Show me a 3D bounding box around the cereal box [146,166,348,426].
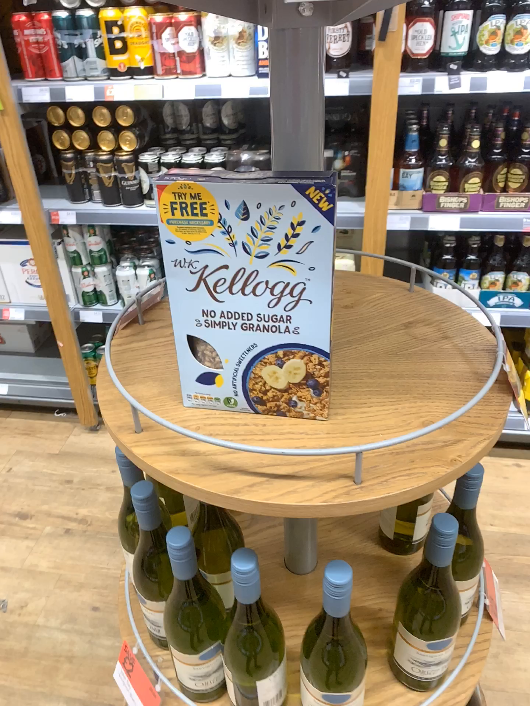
[{"bbox_3d":[-0.011,-0.051,0.538,0.170,0.248,0.050,5,31,12],"label":"cereal box"}]
